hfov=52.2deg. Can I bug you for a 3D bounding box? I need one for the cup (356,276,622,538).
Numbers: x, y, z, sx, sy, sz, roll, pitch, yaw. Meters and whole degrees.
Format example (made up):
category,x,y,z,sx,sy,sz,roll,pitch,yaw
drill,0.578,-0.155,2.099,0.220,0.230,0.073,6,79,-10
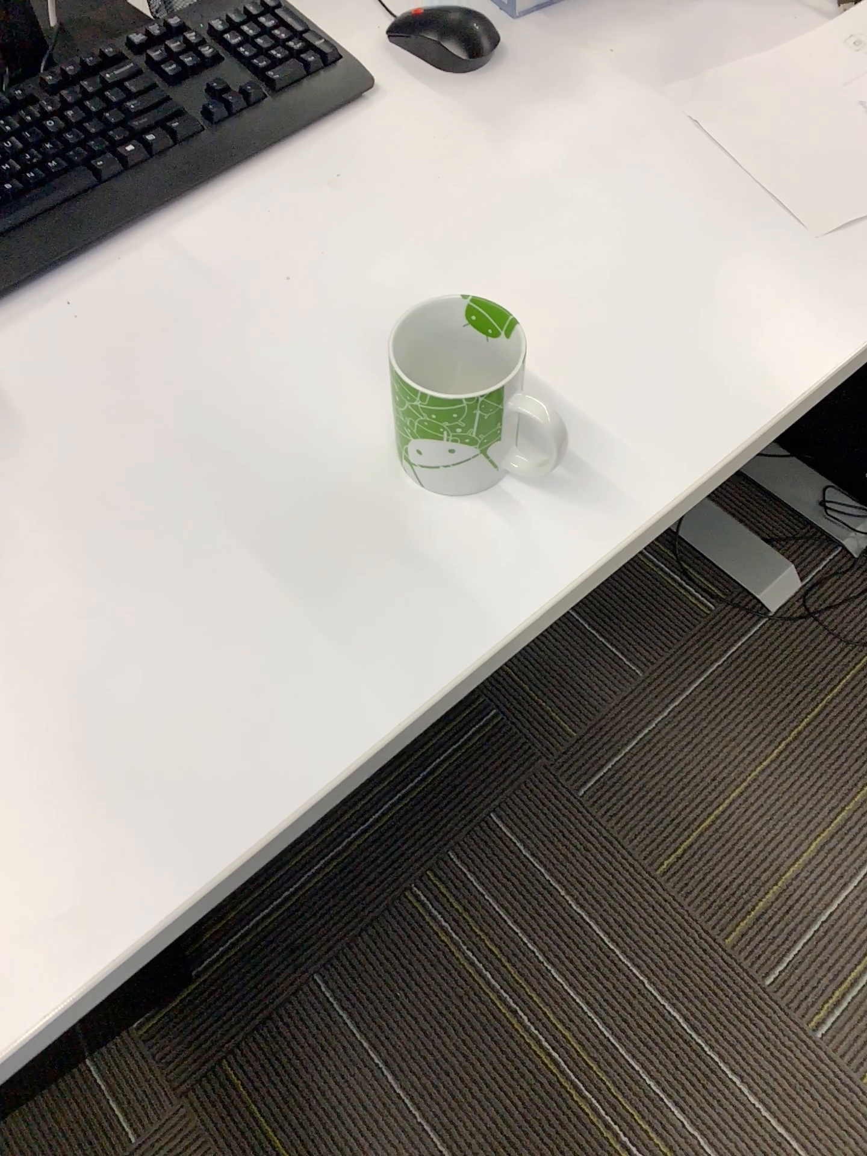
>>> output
category,x,y,z,sx,sy,sz,roll,pitch,yaw
cup,0.032,-0.101,0.523,0.120,0.080,0.090,22,63,14
